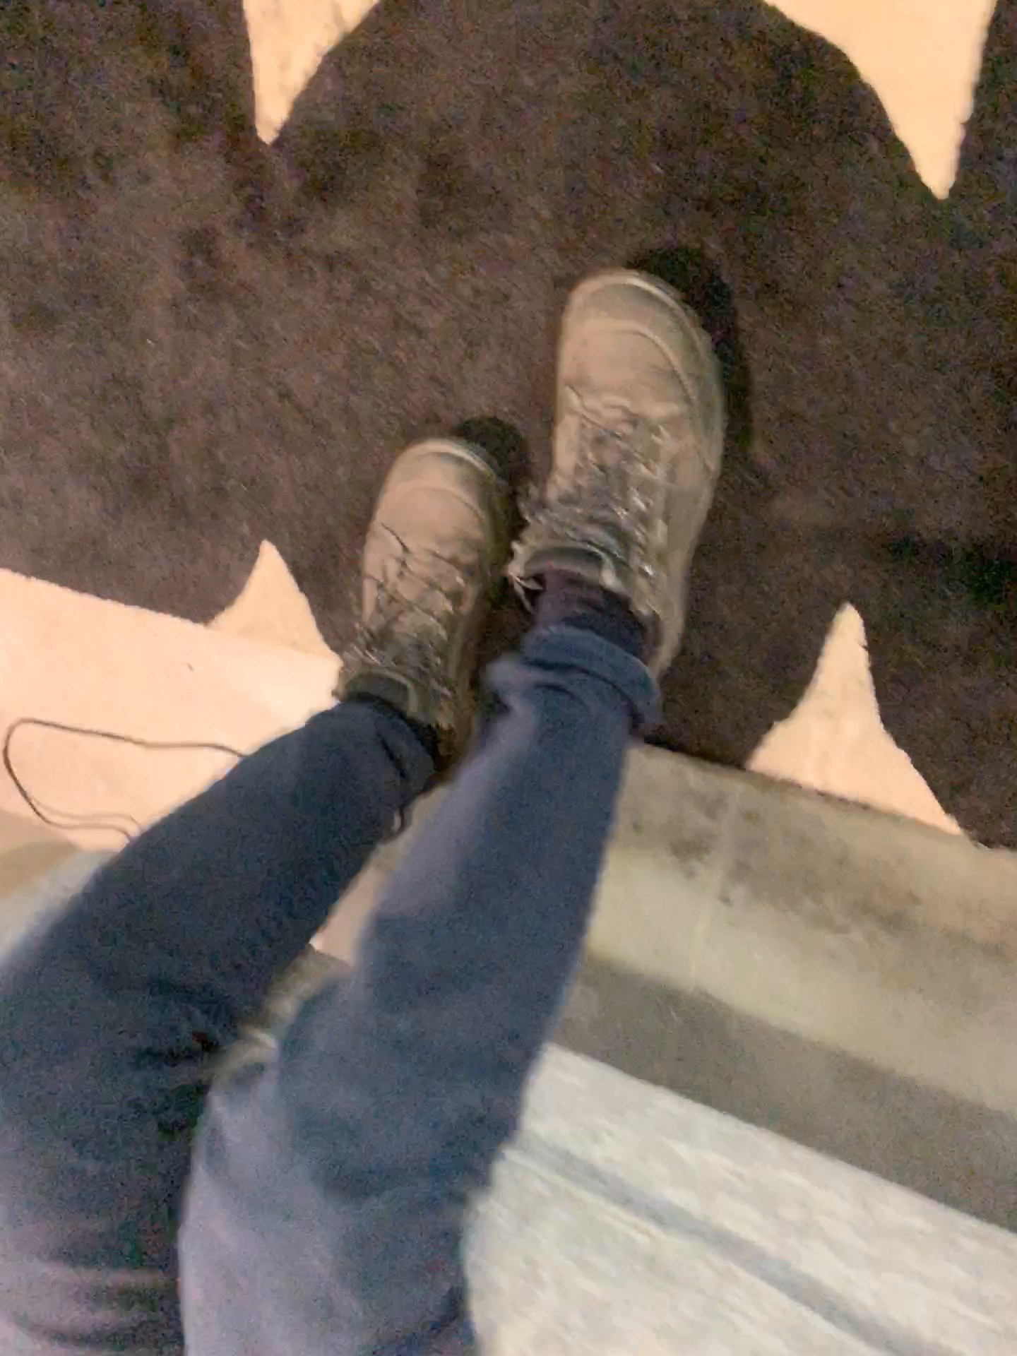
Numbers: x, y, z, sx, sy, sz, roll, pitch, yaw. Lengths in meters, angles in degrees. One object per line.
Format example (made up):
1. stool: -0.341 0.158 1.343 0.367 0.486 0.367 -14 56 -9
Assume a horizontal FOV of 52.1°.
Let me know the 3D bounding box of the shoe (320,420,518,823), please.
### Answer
1. shoe: -0.070 -0.042 0.804 0.119 0.077 0.286 13 117 20

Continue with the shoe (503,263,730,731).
1. shoe: 0.074 -0.118 0.694 0.121 0.077 0.288 7 114 23
